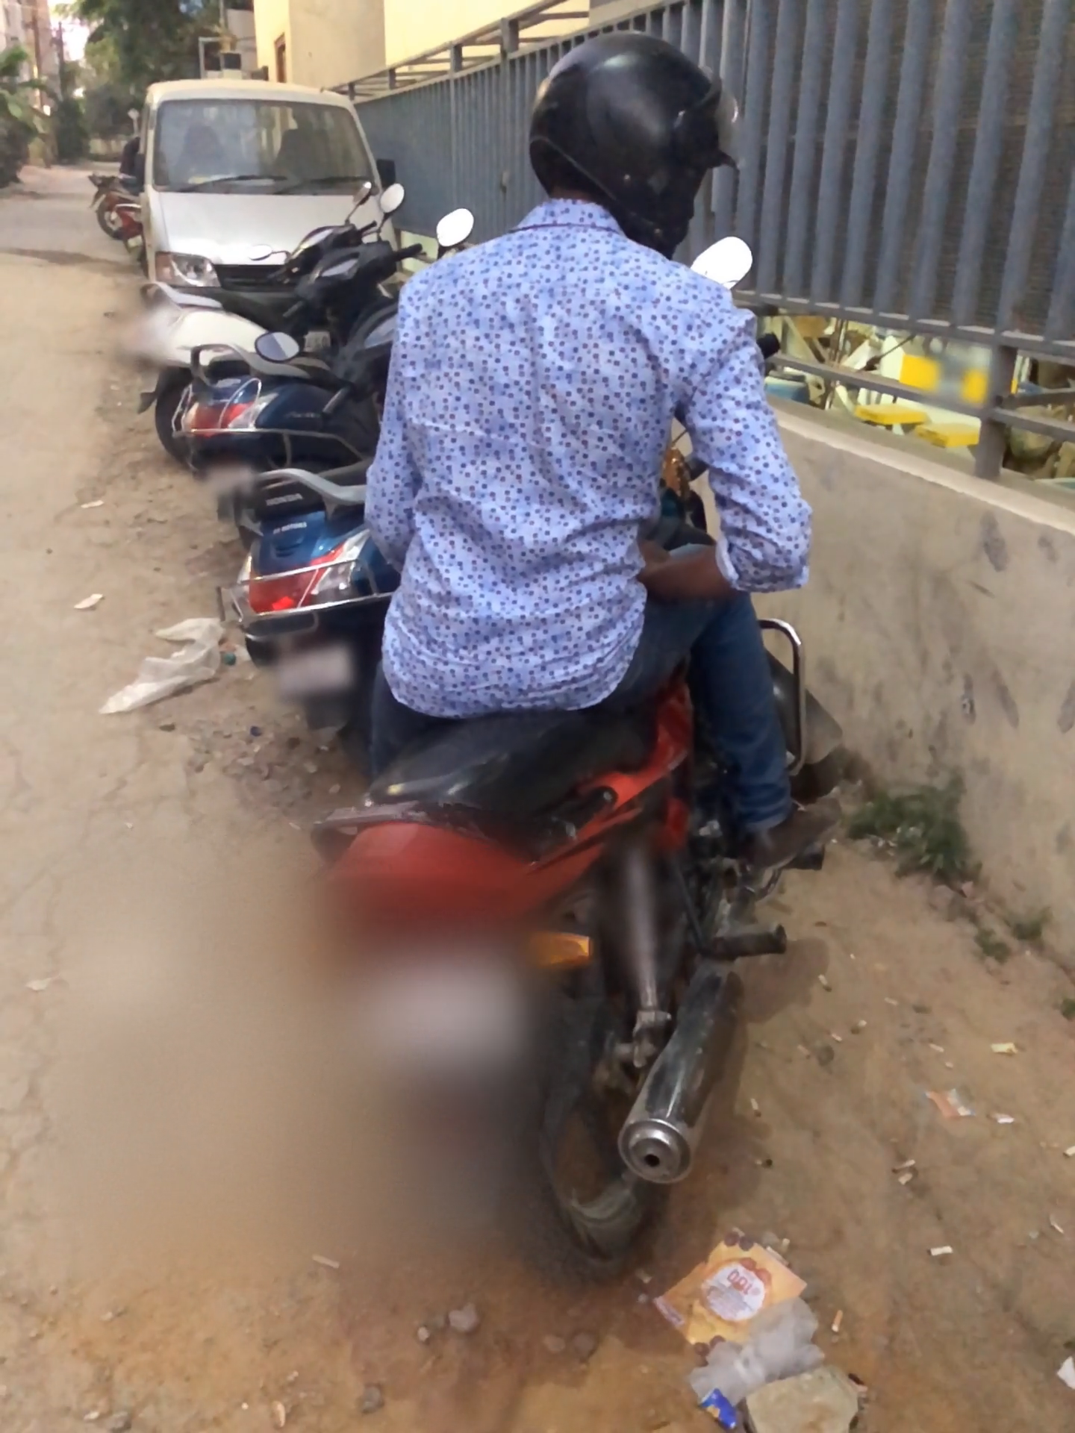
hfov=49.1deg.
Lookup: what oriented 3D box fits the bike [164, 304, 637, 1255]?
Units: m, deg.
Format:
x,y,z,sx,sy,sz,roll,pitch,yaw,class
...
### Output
x,y,z,sx,sy,sz,roll,pitch,yaw,class
-0.115,-0.128,2.172,0.424,0.830,1.661,5,30,8,bike
